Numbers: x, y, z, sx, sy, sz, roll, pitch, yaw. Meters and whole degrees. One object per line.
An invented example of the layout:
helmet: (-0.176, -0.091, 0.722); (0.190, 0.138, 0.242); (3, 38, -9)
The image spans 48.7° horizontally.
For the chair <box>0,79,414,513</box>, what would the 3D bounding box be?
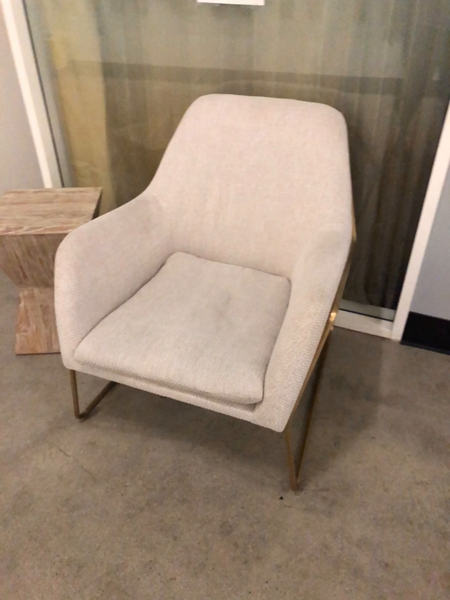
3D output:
chair: (0.015, -0.112, 1.515); (0.831, 0.816, 0.894); (13, 38, 18)
